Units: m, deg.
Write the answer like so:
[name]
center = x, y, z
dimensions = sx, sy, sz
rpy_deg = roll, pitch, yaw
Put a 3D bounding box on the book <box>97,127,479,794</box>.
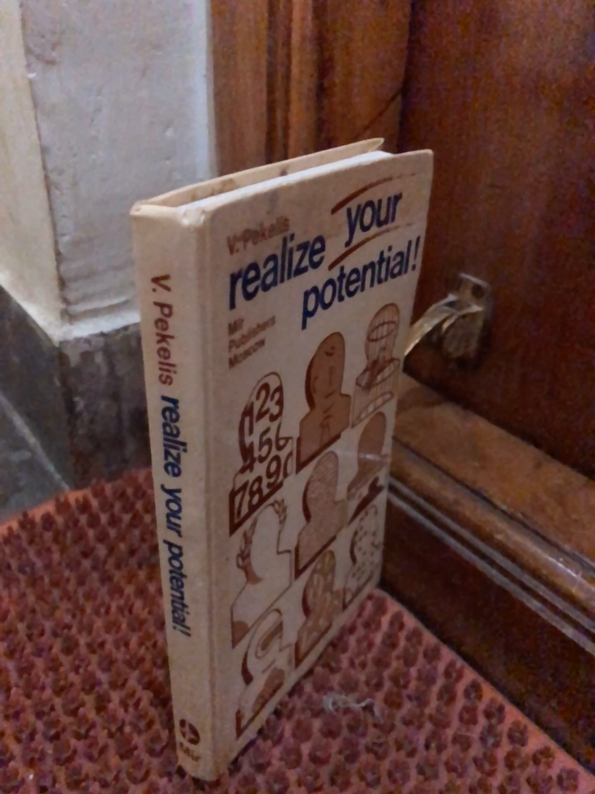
[book]
center = 0.009, 0.020, 0.249
dimensions = 0.030, 0.209, 0.151
rpy_deg = 20, 34, 31
